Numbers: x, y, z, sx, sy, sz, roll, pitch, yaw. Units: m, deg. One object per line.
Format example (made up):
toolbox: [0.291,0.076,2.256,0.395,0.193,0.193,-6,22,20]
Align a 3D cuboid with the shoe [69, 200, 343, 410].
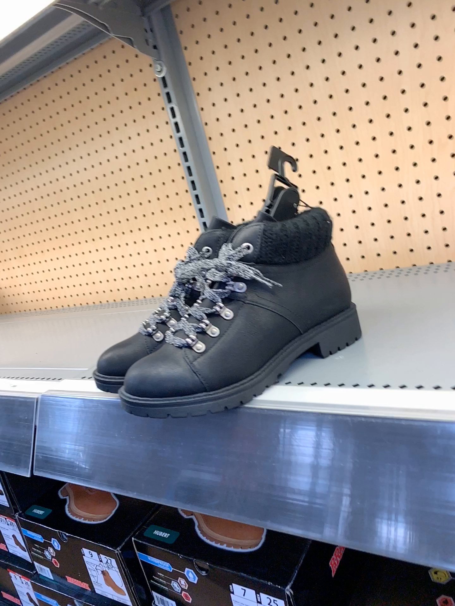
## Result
shoe: [-0.022,-0.009,0.494,0.235,0.137,0.104,-18,15,-9]

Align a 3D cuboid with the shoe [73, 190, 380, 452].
shoe: [0.007,0.000,0.424,0.231,0.137,0.105,-24,16,-27]
